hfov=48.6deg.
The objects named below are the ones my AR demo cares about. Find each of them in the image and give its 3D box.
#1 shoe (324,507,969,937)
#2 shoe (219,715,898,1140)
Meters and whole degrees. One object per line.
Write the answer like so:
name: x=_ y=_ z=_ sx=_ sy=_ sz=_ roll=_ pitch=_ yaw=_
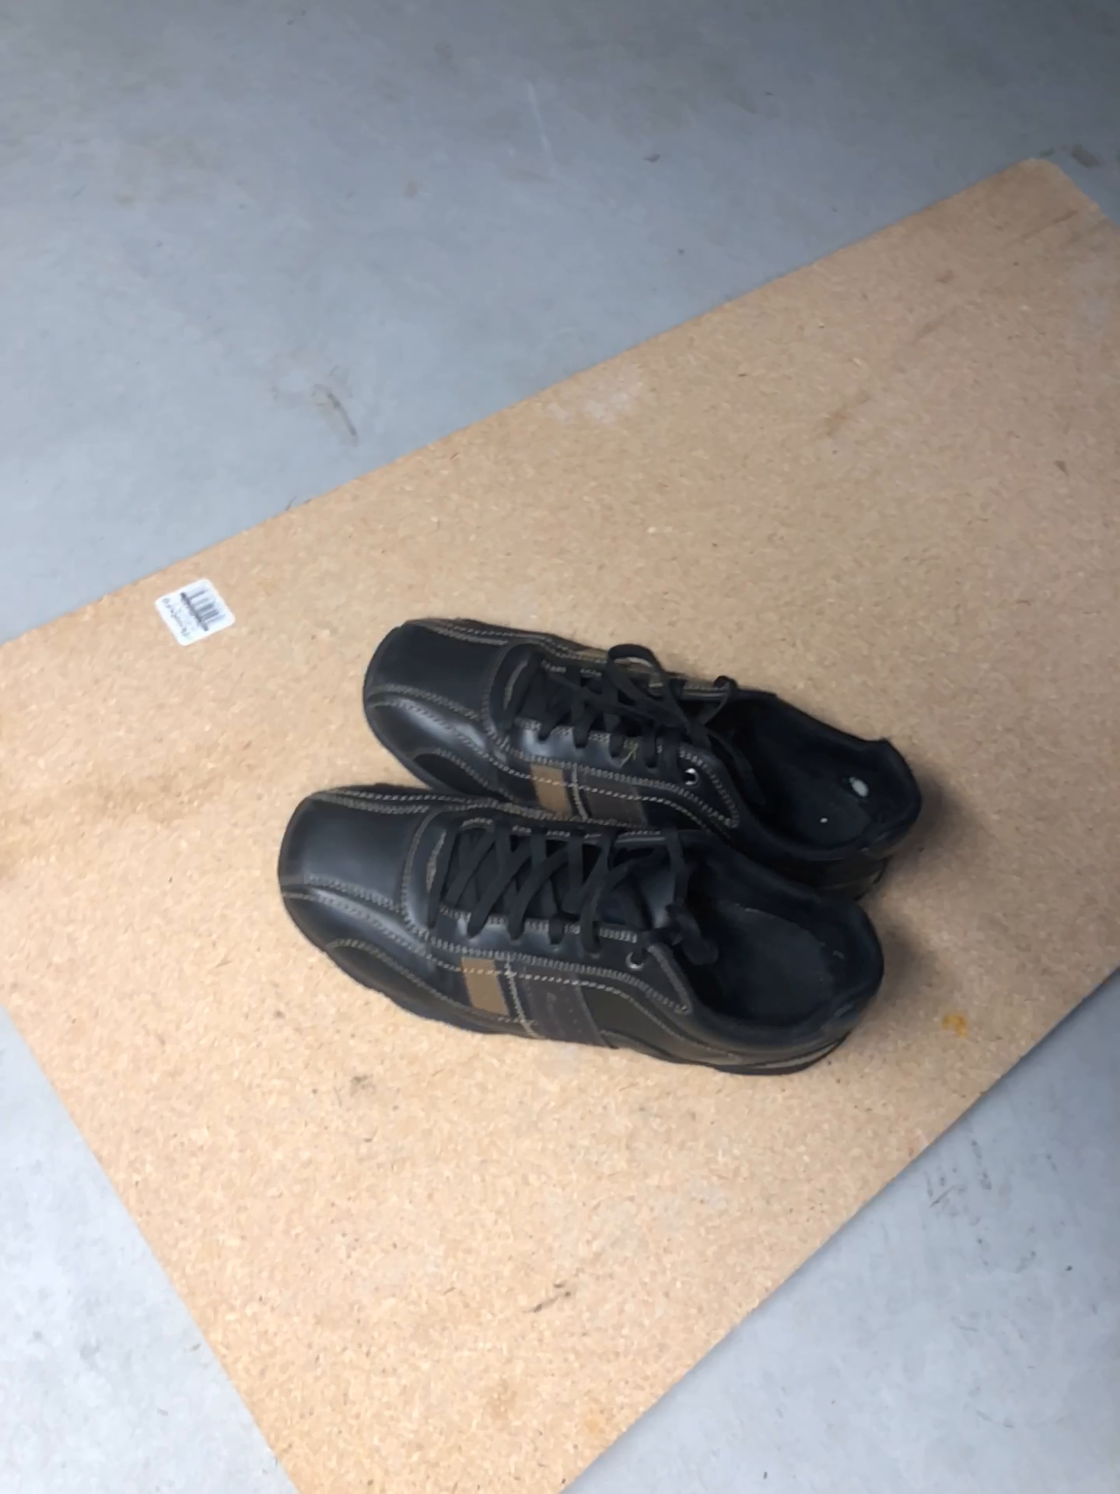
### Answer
shoe: x=0.038 y=-0.005 z=0.619 sx=0.290 sy=0.100 sz=0.100 roll=19 pitch=70 yaw=-5
shoe: x=-0.001 y=0.093 z=0.612 sx=0.300 sy=0.100 sz=0.100 roll=17 pitch=60 yaw=-1
